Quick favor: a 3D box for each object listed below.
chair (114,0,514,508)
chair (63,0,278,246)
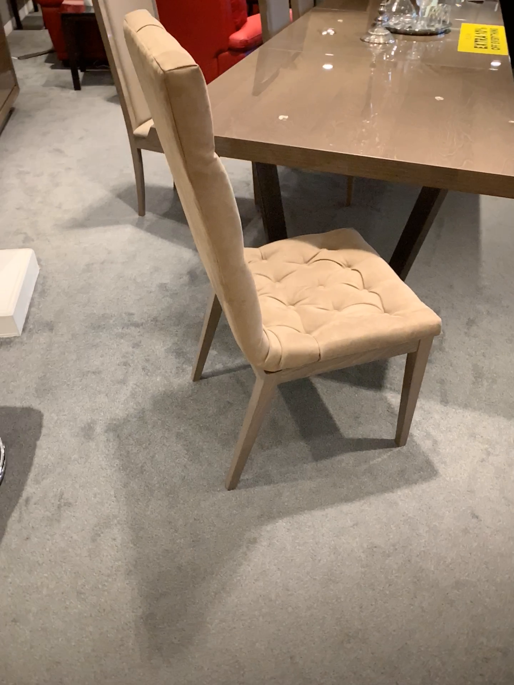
[{"bbox_3d":[0.093,-0.197,1.268,0.636,1.020,0.528,-12,42,-15],"label":"chair"},{"bbox_3d":[-0.333,-1.087,2.355,0.638,1.020,0.527,21,44,22],"label":"chair"}]
